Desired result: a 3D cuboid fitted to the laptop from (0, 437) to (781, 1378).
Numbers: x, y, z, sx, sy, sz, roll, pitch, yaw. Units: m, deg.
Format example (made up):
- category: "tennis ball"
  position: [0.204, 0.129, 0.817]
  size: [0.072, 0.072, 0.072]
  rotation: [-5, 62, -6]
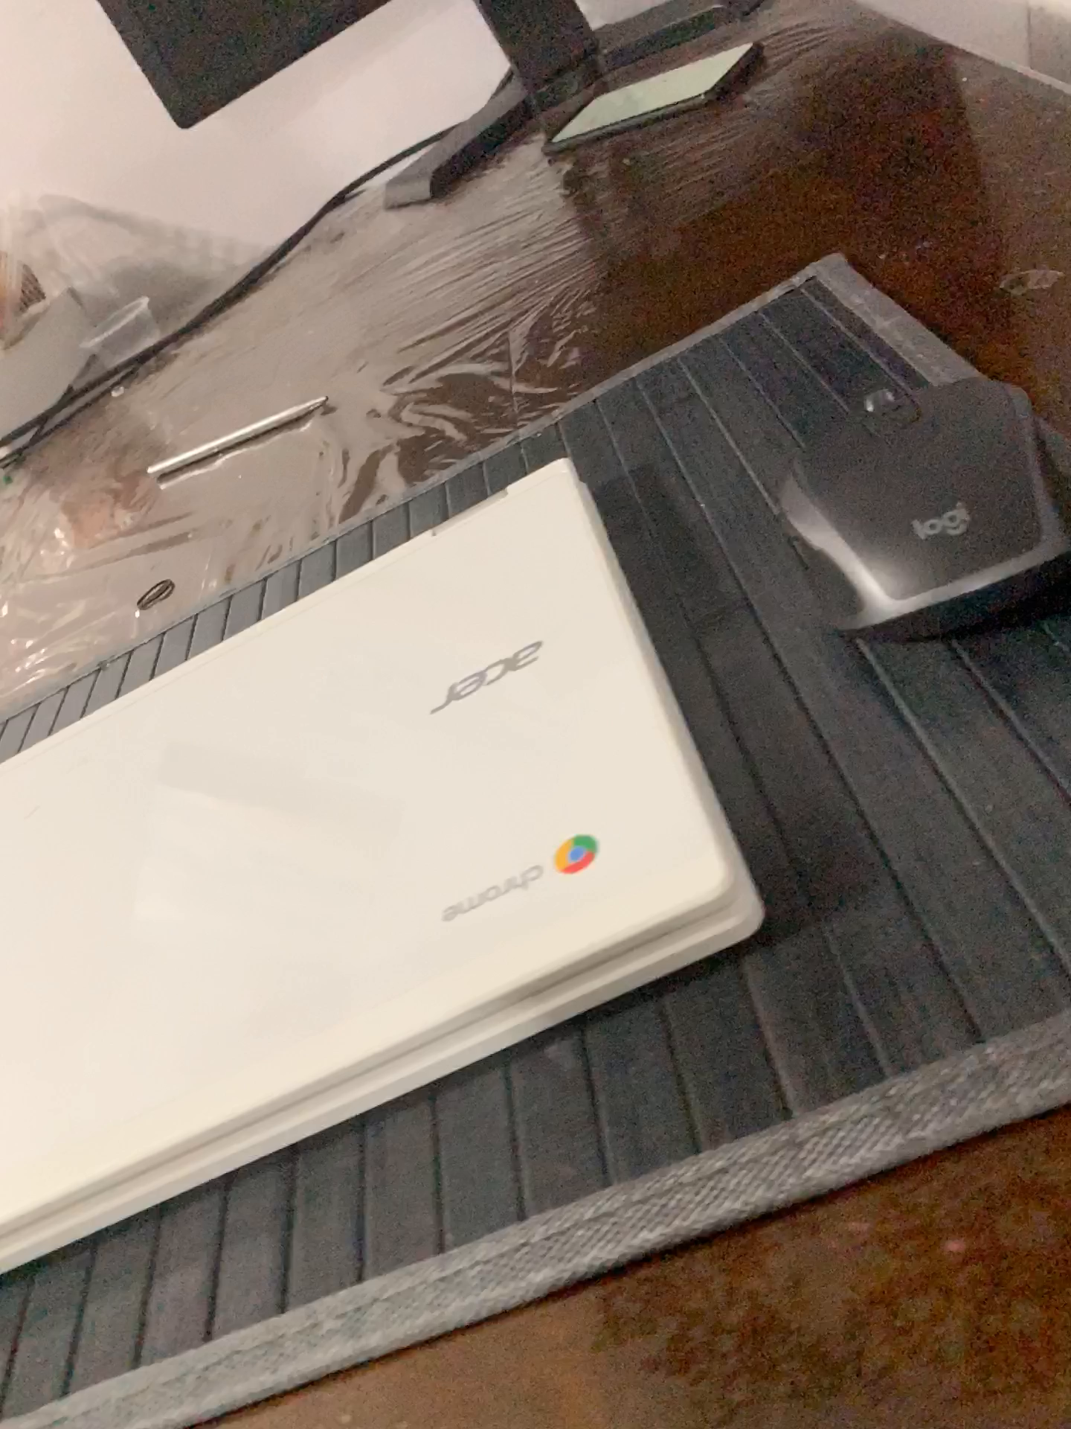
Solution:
- category: "laptop"
  position: [-0.092, 0.032, 0.300]
  size: [0.278, 0.002, 0.195]
  rotation: [-27, 35, 12]
